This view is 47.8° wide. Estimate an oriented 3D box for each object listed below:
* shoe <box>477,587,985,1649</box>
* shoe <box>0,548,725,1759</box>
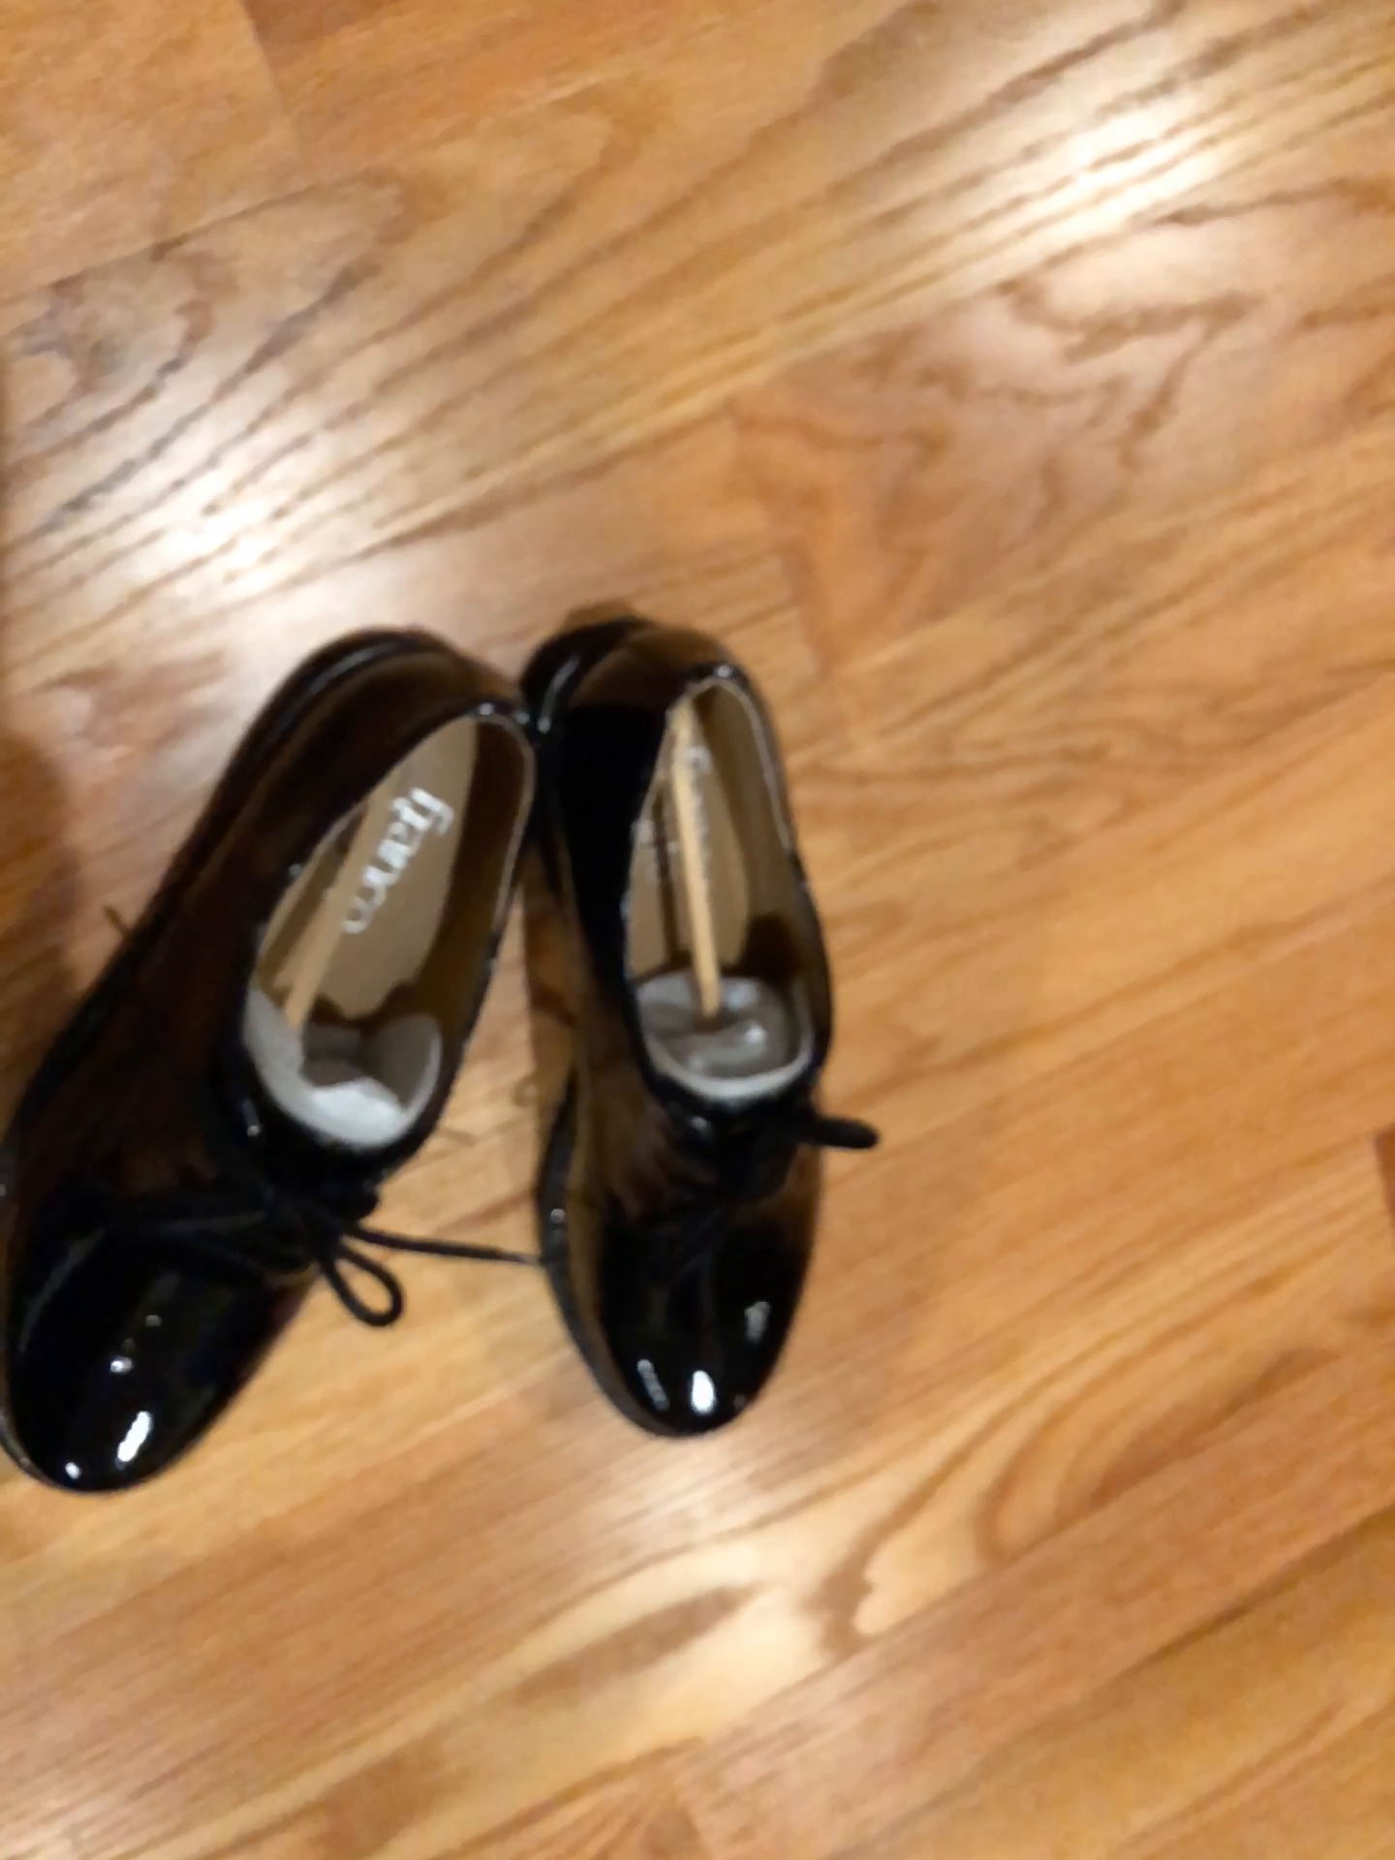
[{"bbox_3d":[0.004,0.041,0.420,0.095,0.102,0.251,-6,107,-18],"label":"shoe"},{"bbox_3d":[-0.110,0.047,0.377,0.095,0.102,0.251,27,95,-24],"label":"shoe"}]
